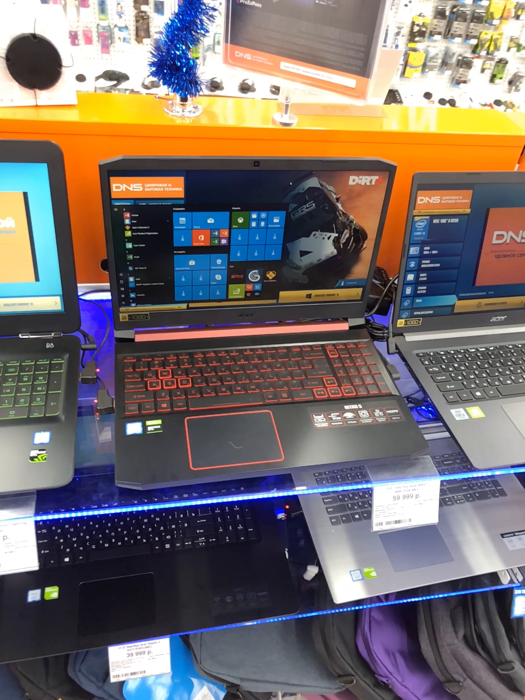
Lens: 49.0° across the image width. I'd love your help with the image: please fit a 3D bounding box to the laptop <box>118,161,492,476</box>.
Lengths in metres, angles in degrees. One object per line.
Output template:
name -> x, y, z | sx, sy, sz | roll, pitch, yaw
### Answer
laptop -> 0.014, -0.050, 0.657 | 0.329, 0.231, 0.252 | -3, 40, -13
